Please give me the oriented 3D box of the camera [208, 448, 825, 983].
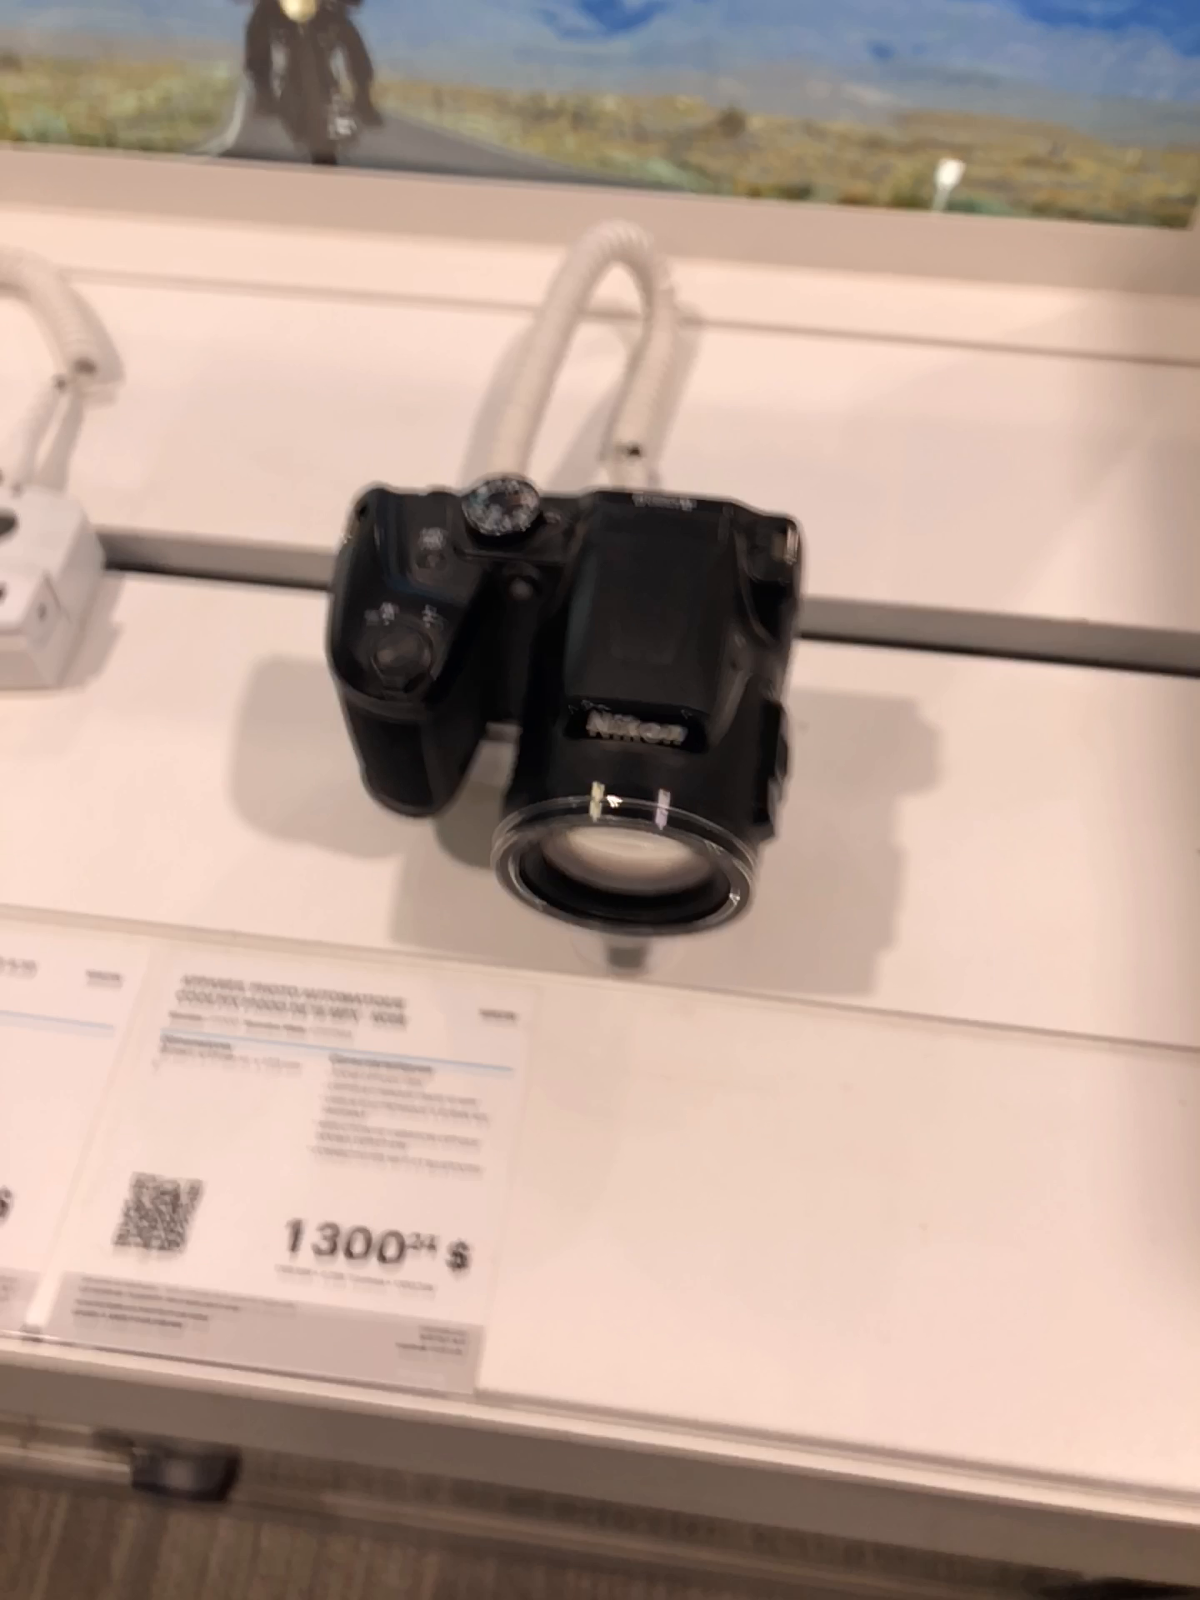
[{"bbox_3d":[-0.012,-0.020,0.307,0.117,0.067,0.092,5,56,4],"label":"camera"}]
